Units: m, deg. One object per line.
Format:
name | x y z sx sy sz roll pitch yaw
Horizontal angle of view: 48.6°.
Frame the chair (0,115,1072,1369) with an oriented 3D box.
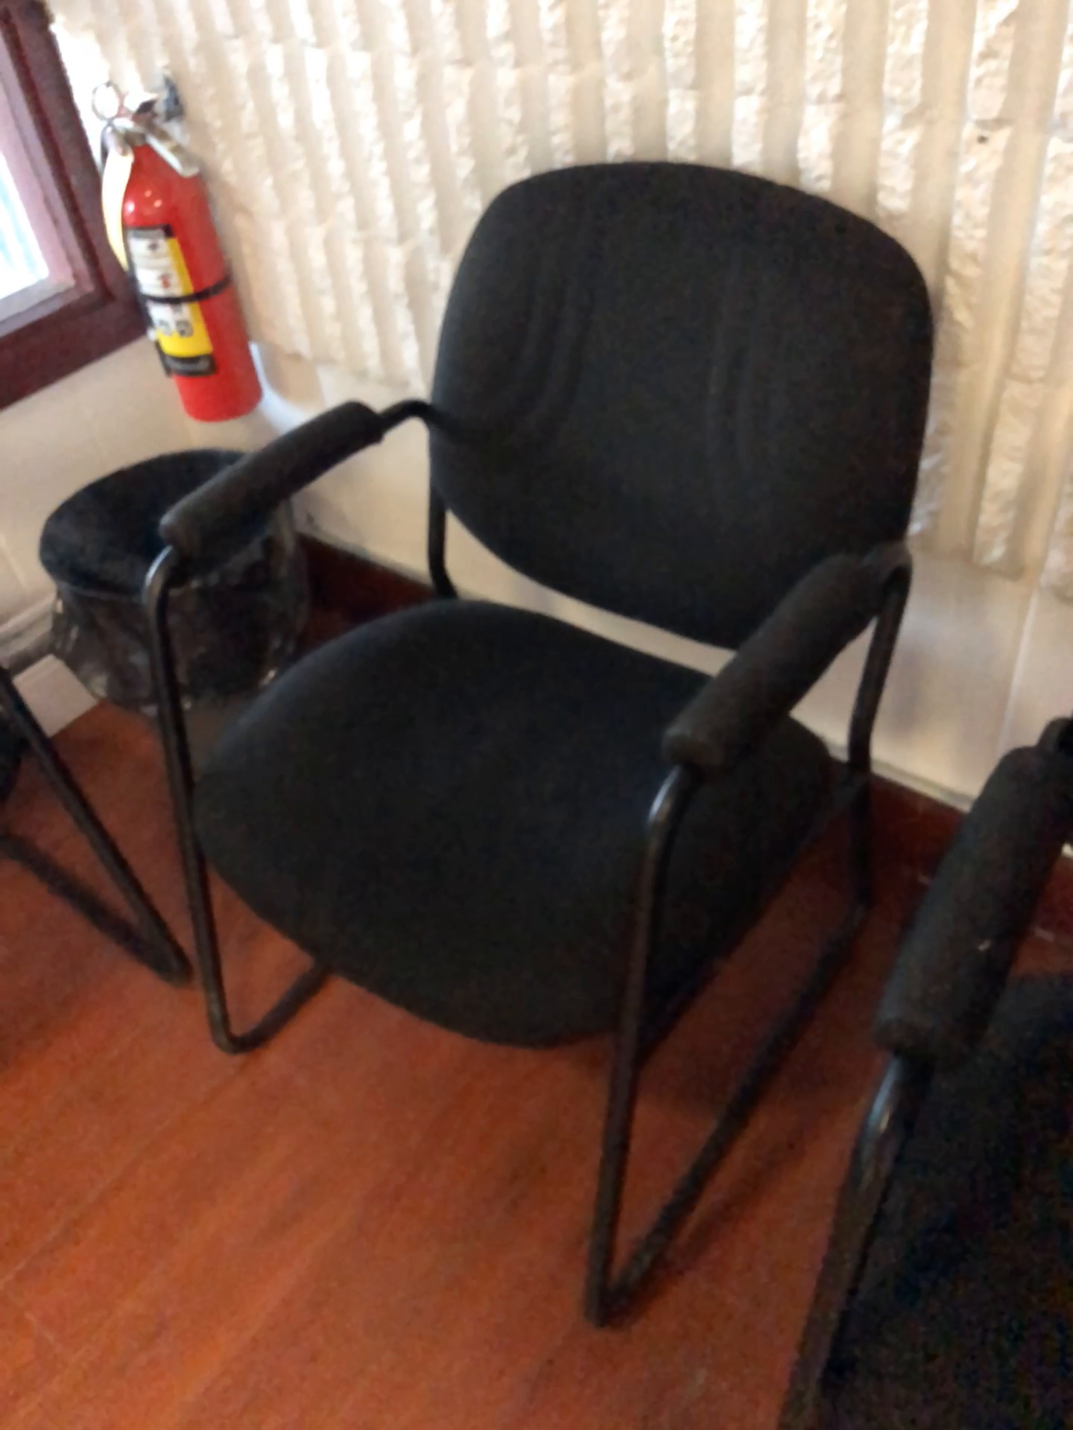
chair | 0.036 -0.021 1.180 0.592 0.795 0.773 23 51 30
